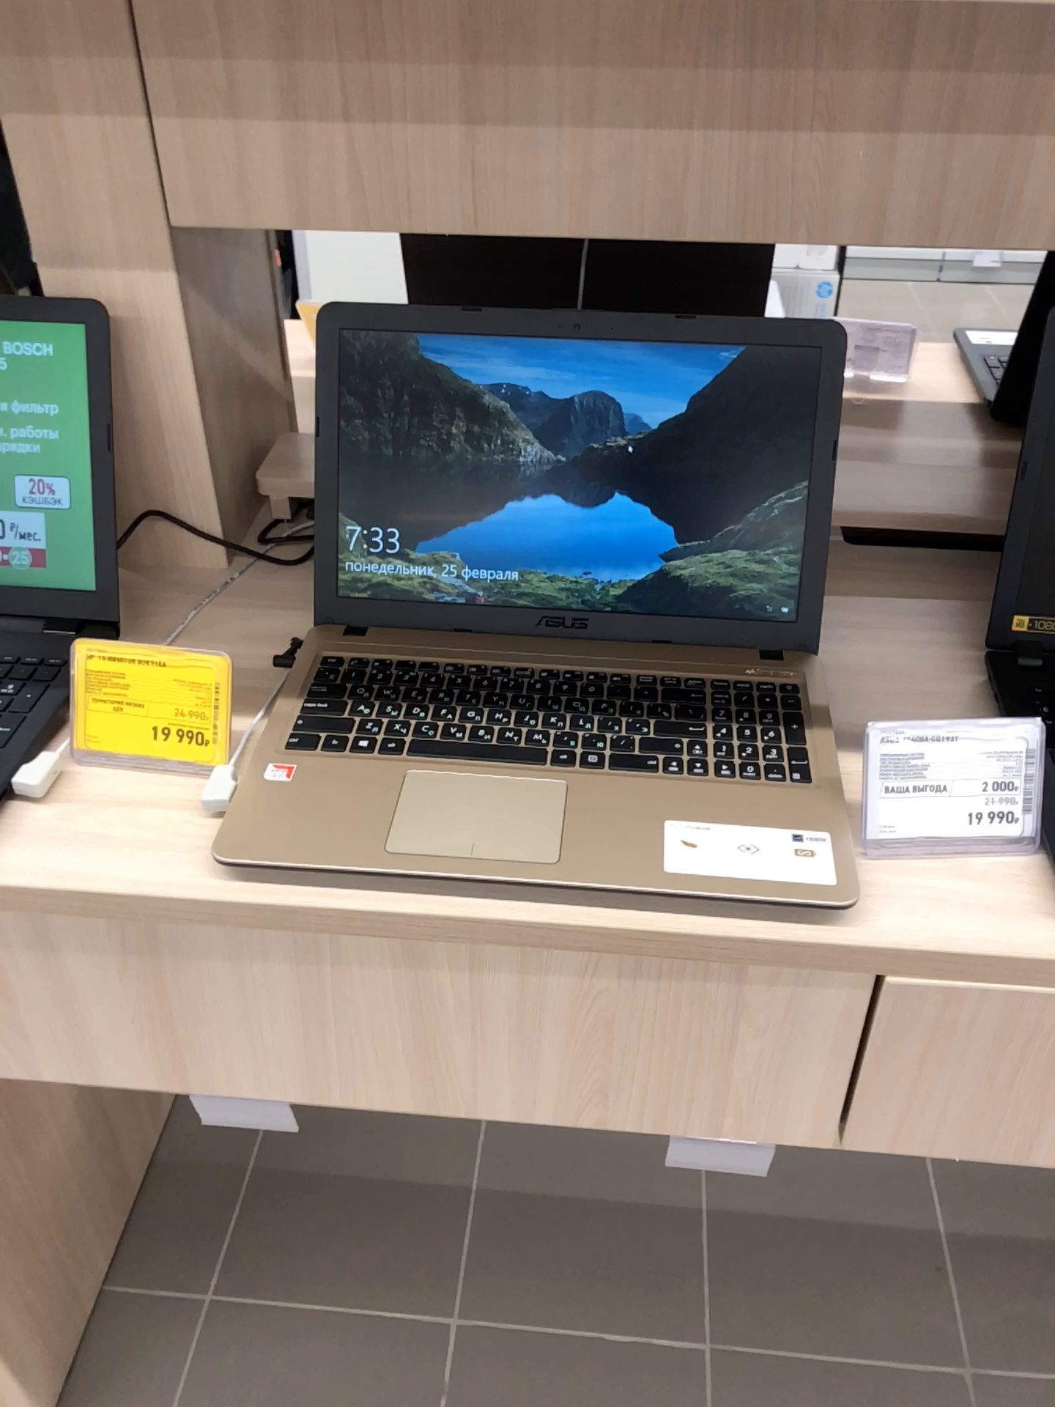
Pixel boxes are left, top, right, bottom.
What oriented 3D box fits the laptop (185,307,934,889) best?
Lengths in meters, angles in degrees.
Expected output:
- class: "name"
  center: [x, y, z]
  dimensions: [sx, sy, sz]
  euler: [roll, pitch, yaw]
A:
- class: "laptop"
  center: [0.033, -0.092, 0.763]
  dimensions: [0.366, 0.208, 0.351]
  euler: [3, 37, 4]
